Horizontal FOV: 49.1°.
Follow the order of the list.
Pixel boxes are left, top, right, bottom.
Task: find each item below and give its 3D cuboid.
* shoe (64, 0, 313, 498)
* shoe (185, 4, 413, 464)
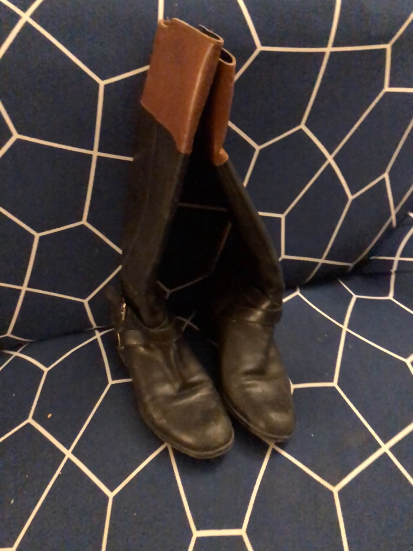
[{"bbox_3d":[-0.044,-0.015,0.469,0.110,0.427,0.272,-10,42,-15],"label":"shoe"},{"bbox_3d":[0.048,-0.028,0.456,0.100,0.378,0.252,-6,42,-7],"label":"shoe"}]
